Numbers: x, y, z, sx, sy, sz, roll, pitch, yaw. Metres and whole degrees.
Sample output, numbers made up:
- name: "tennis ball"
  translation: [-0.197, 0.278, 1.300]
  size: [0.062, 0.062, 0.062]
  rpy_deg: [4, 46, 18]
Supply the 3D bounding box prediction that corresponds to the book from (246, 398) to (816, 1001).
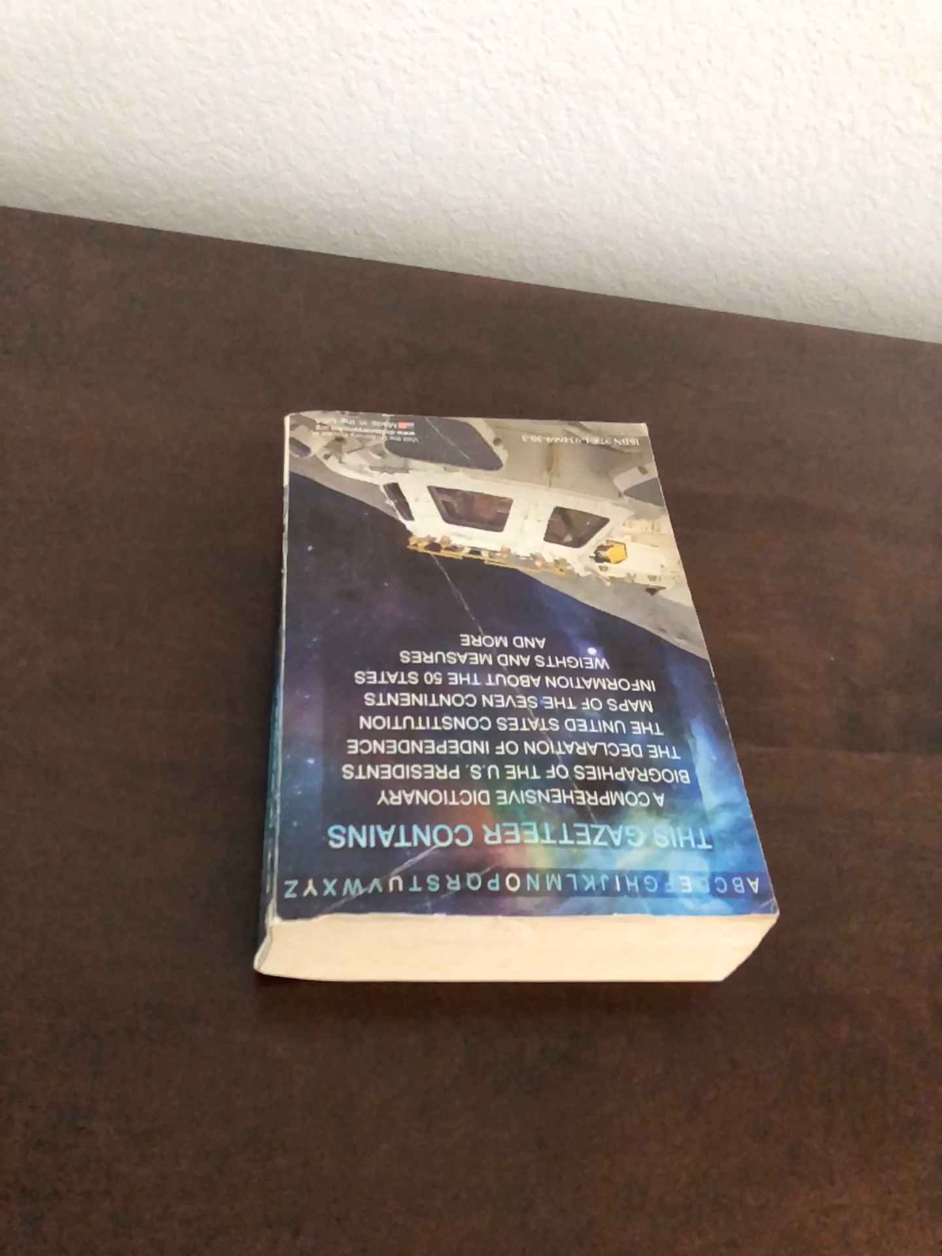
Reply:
- name: "book"
  translation: [0.009, 0.010, 0.329]
  size: [0.140, 0.040, 0.196]
  rpy_deg: [1, 52, -7]
